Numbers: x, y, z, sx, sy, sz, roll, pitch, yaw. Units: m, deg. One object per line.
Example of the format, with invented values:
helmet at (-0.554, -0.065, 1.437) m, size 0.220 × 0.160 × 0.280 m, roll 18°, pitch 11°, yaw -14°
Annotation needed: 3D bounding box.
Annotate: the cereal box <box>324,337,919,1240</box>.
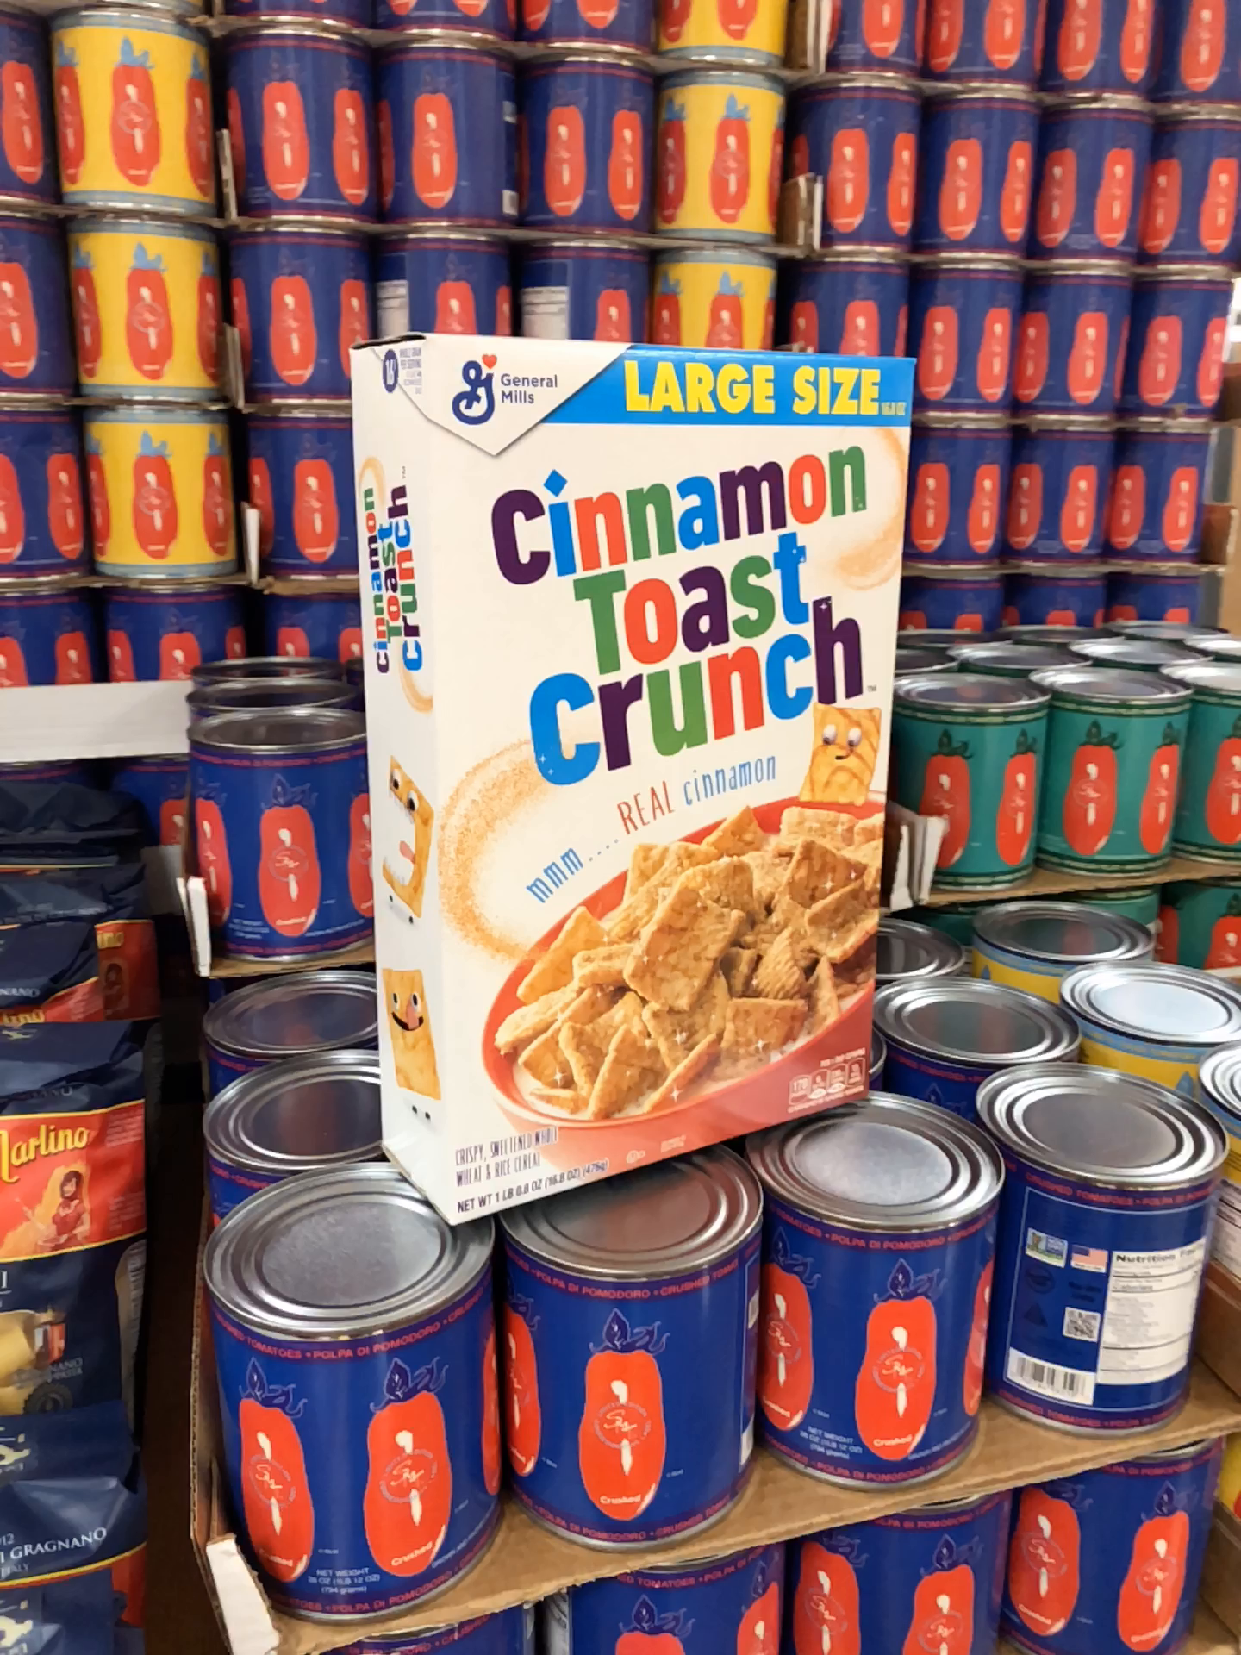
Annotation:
cereal box at (0.003, -0.022, 0.516) m, size 0.200 × 0.298 × 0.070 m, roll -9°, pitch 18°, yaw -30°
